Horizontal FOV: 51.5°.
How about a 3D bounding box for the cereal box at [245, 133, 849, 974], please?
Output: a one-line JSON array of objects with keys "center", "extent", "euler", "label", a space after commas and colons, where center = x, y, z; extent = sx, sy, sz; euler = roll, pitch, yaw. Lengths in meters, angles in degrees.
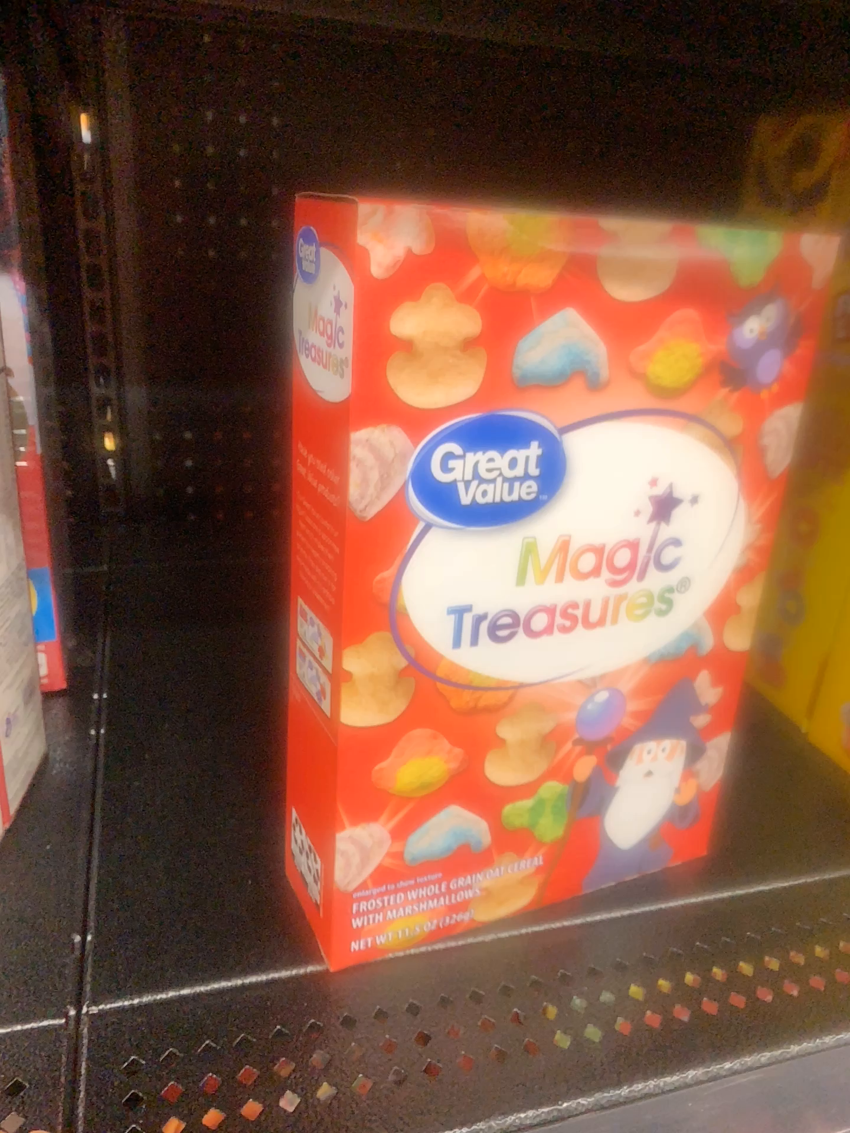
[{"center": [0.041, -0.005, 0.348], "extent": [0.200, 0.279, 0.070], "euler": [-7, 21, -24], "label": "cereal box"}]
